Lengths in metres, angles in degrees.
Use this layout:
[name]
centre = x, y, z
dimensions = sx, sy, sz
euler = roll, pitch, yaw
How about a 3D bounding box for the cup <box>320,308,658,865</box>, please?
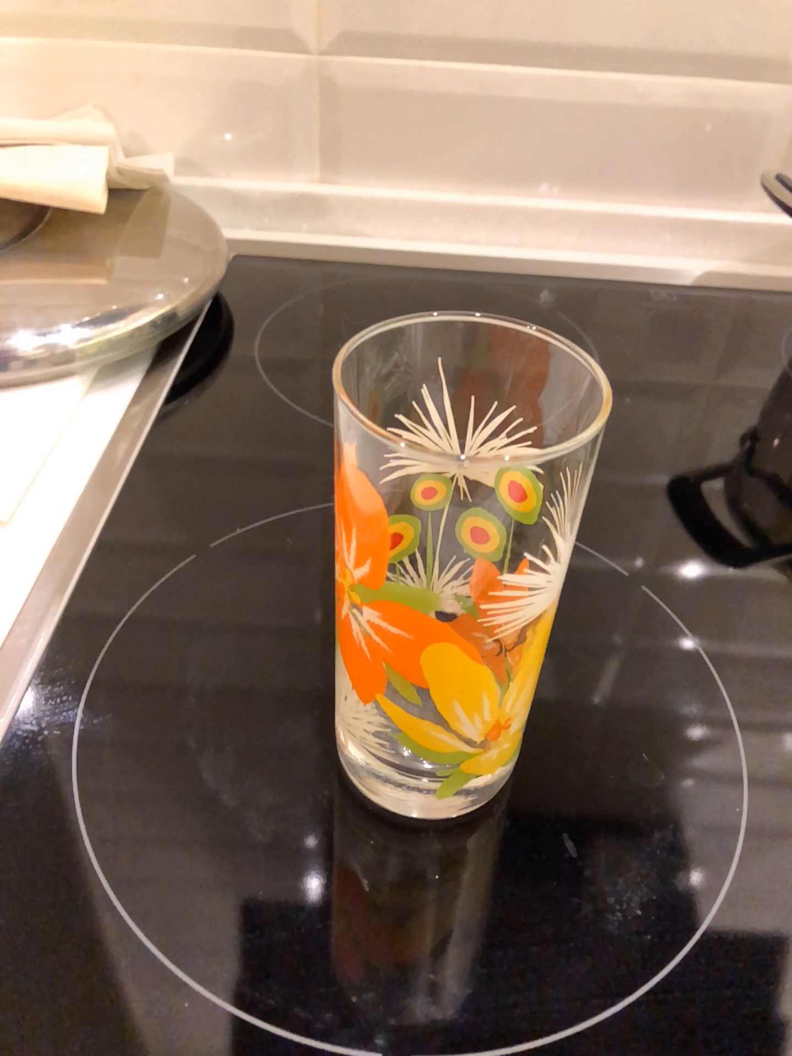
[cup]
centre = 0.013, 0.020, 0.236
dimensions = 0.062, 0.138, 0.067
euler = 2, 39, -2
